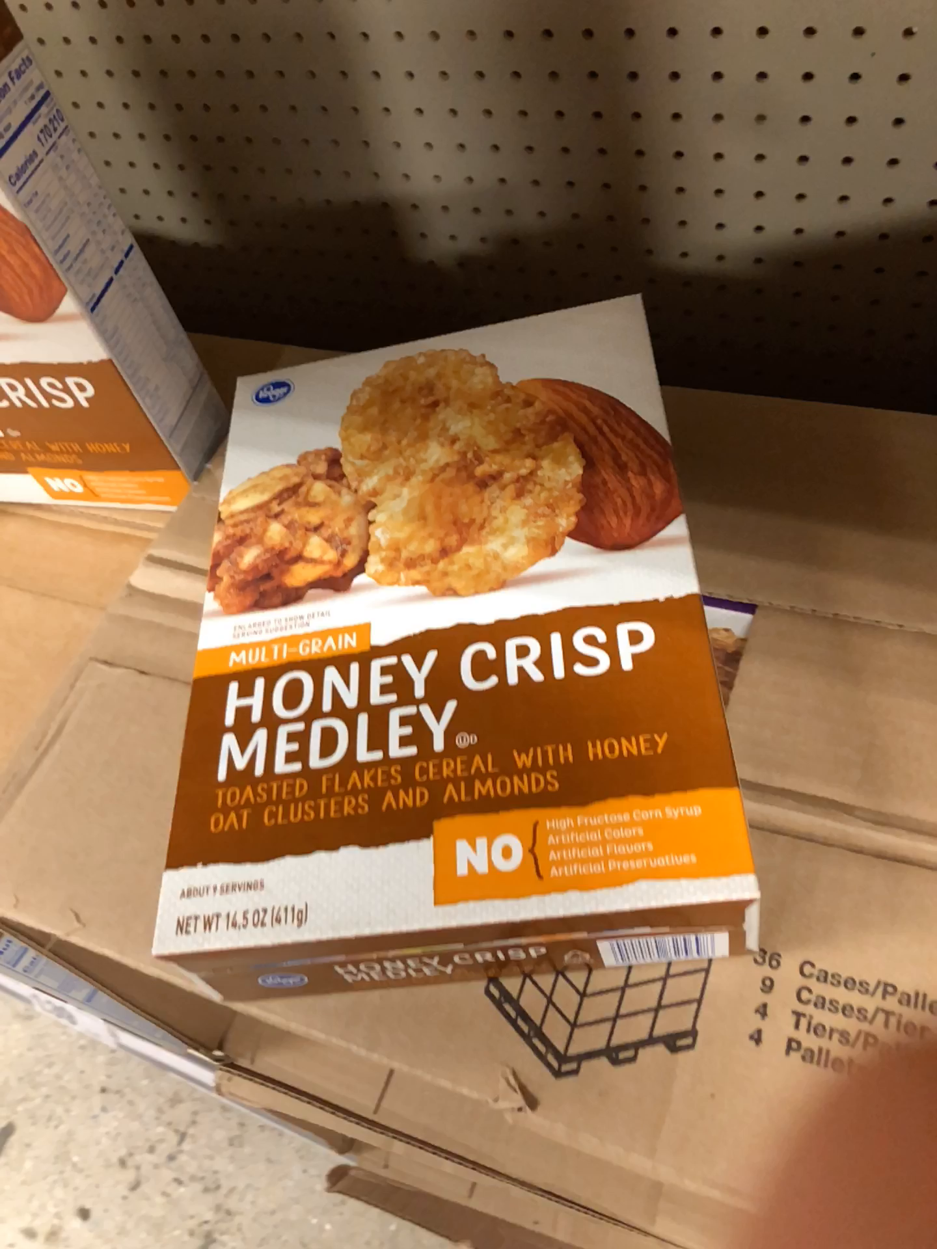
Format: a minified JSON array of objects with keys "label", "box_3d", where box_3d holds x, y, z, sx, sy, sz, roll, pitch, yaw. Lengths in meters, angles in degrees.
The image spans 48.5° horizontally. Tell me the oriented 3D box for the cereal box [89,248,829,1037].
[{"label":"cereal box","box_3d":[-0.007,-0.008,0.376,0.200,0.060,0.270,-9,55,9]}]
